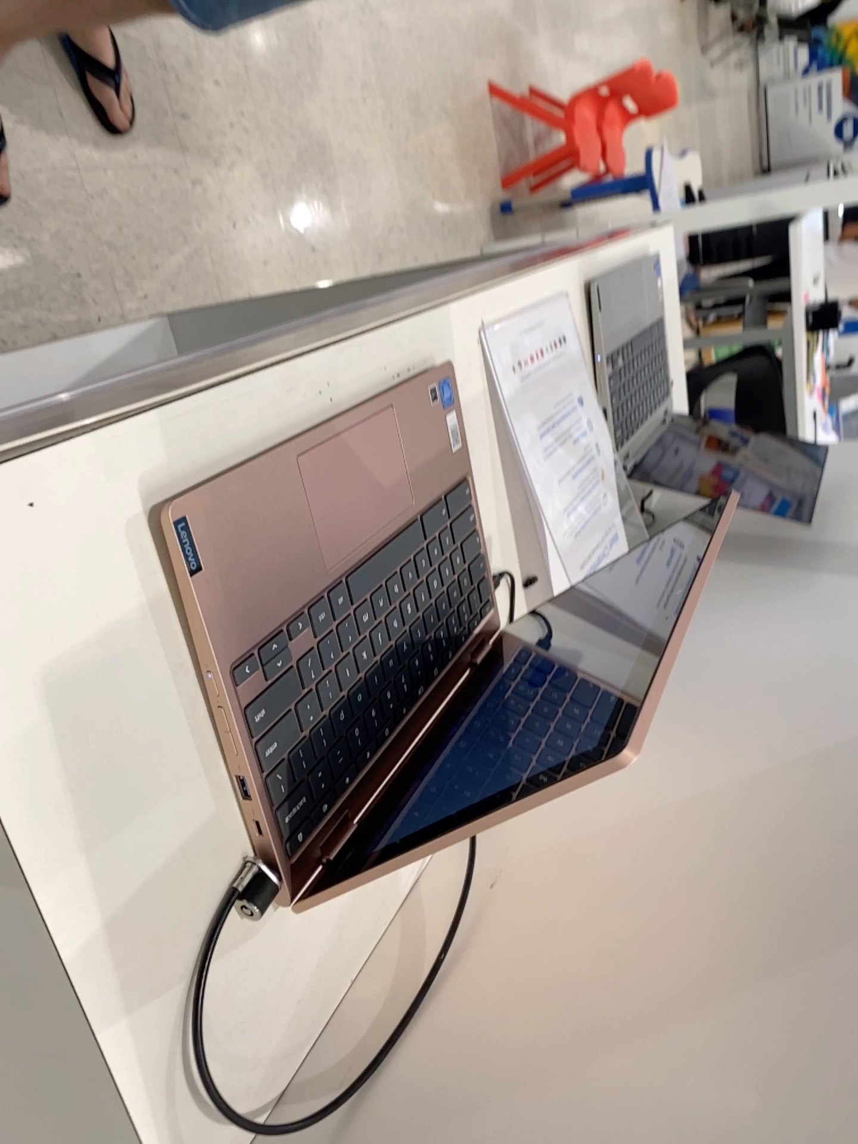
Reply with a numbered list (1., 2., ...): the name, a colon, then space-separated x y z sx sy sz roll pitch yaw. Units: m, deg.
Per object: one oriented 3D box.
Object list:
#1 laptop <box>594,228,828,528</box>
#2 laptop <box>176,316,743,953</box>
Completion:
1. laptop: 0.339 -0.227 1.005 0.312 0.192 0.264 -43 128 -55
2. laptop: 0.051 0.002 0.464 0.281 0.168 0.196 -44 127 -54
